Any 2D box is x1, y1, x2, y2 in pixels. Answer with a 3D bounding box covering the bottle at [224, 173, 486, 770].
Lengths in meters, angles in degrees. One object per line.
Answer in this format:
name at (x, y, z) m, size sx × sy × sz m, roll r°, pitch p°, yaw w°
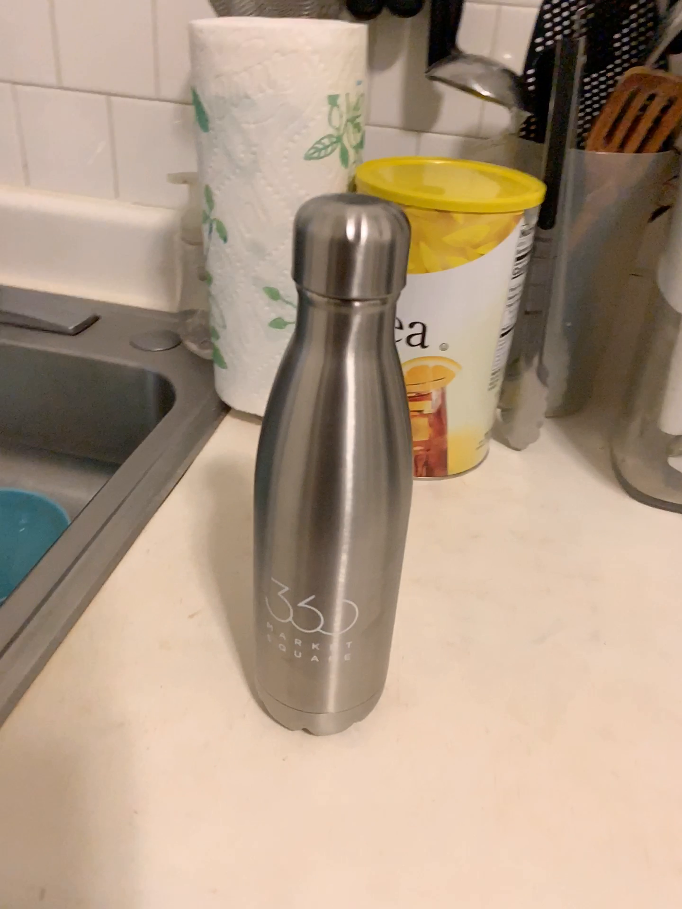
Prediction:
bottle at (-0.002, 0.020, 0.304) m, size 0.070 × 0.248 × 0.070 m, roll 4°, pitch 33°, yaw -2°
